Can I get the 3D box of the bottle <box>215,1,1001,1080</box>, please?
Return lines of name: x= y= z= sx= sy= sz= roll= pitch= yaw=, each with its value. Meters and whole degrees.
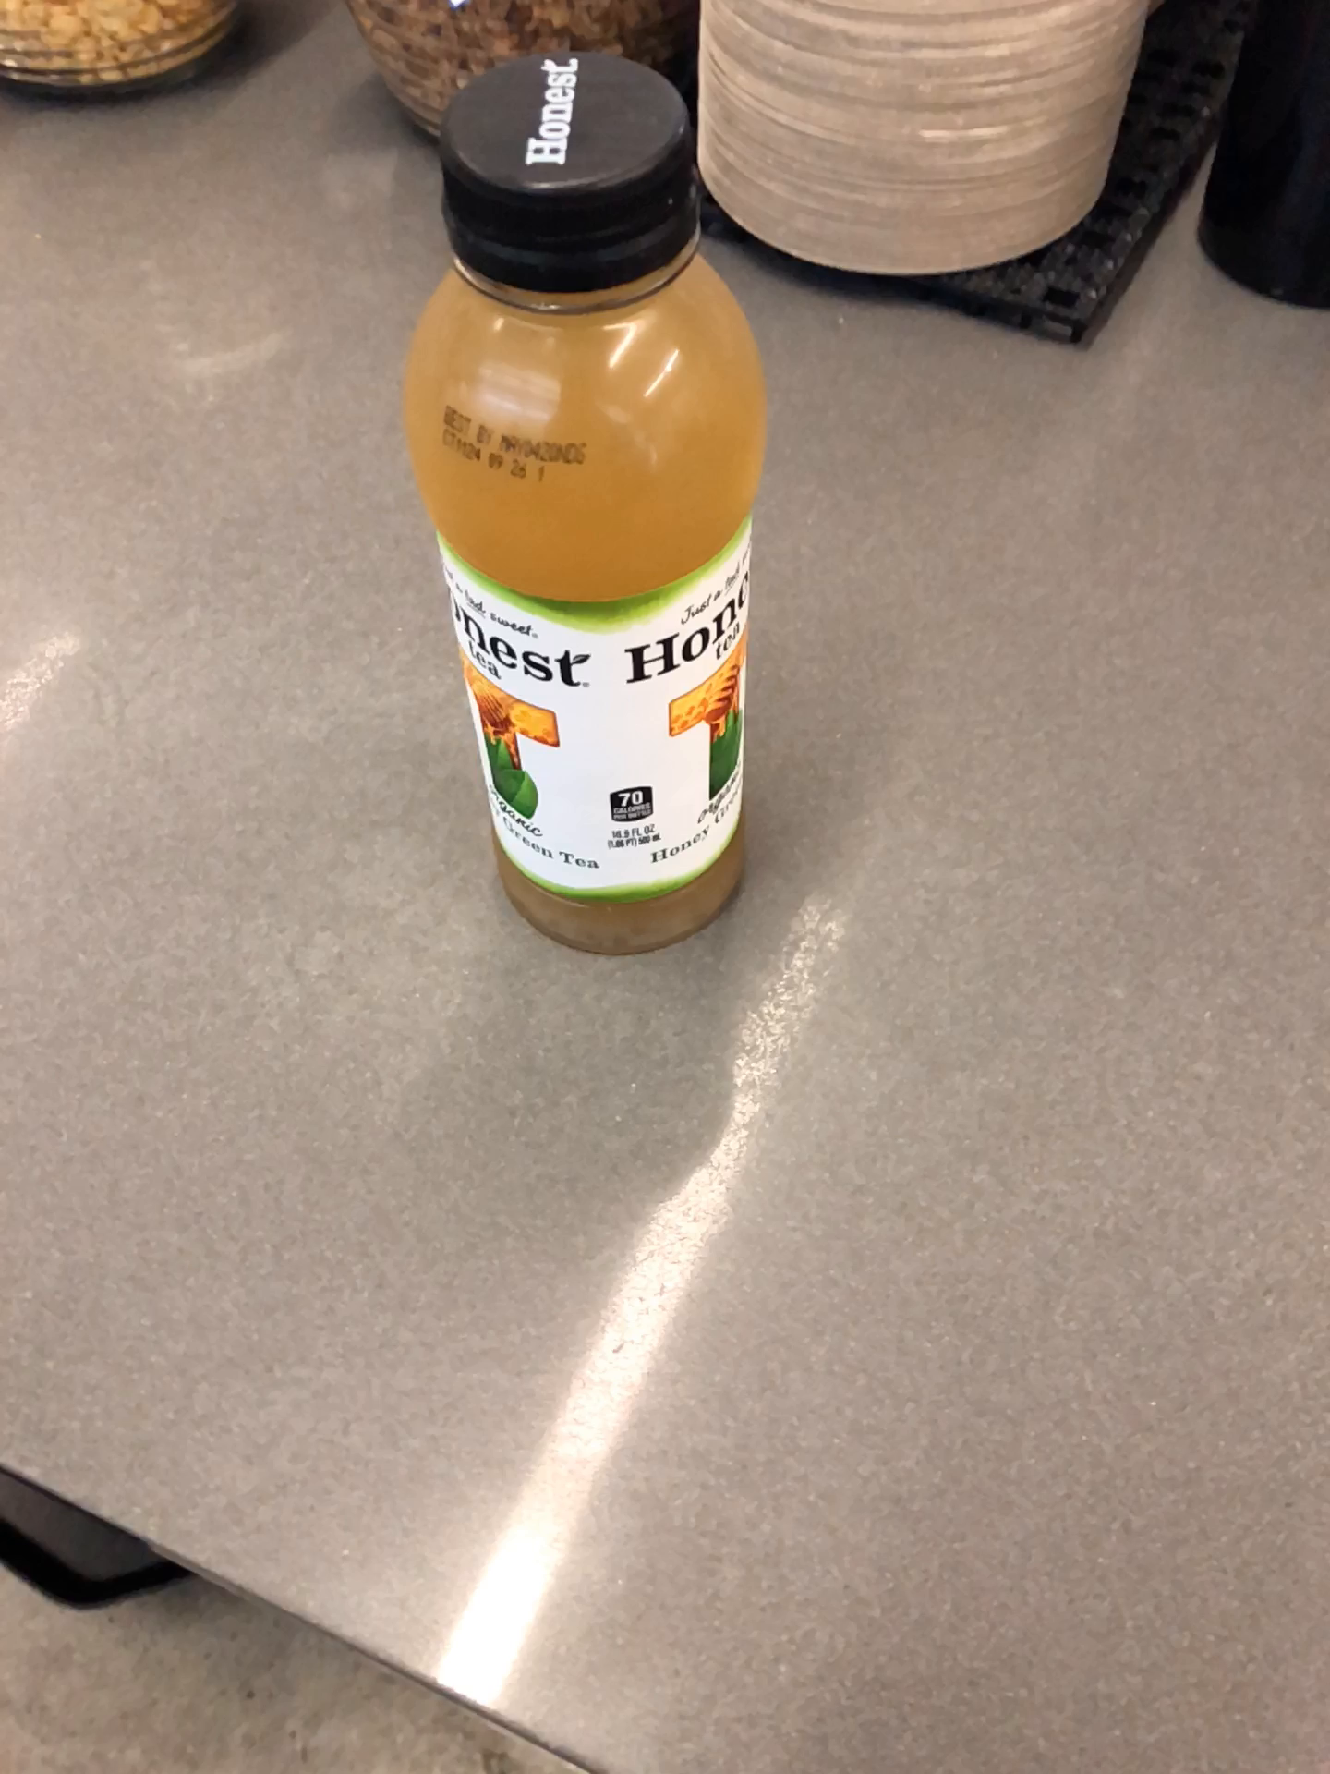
bottle: x=-0.008 y=-0.059 z=0.318 sx=0.090 sy=0.190 sz=0.090 roll=-1 pitch=56 yaw=1
